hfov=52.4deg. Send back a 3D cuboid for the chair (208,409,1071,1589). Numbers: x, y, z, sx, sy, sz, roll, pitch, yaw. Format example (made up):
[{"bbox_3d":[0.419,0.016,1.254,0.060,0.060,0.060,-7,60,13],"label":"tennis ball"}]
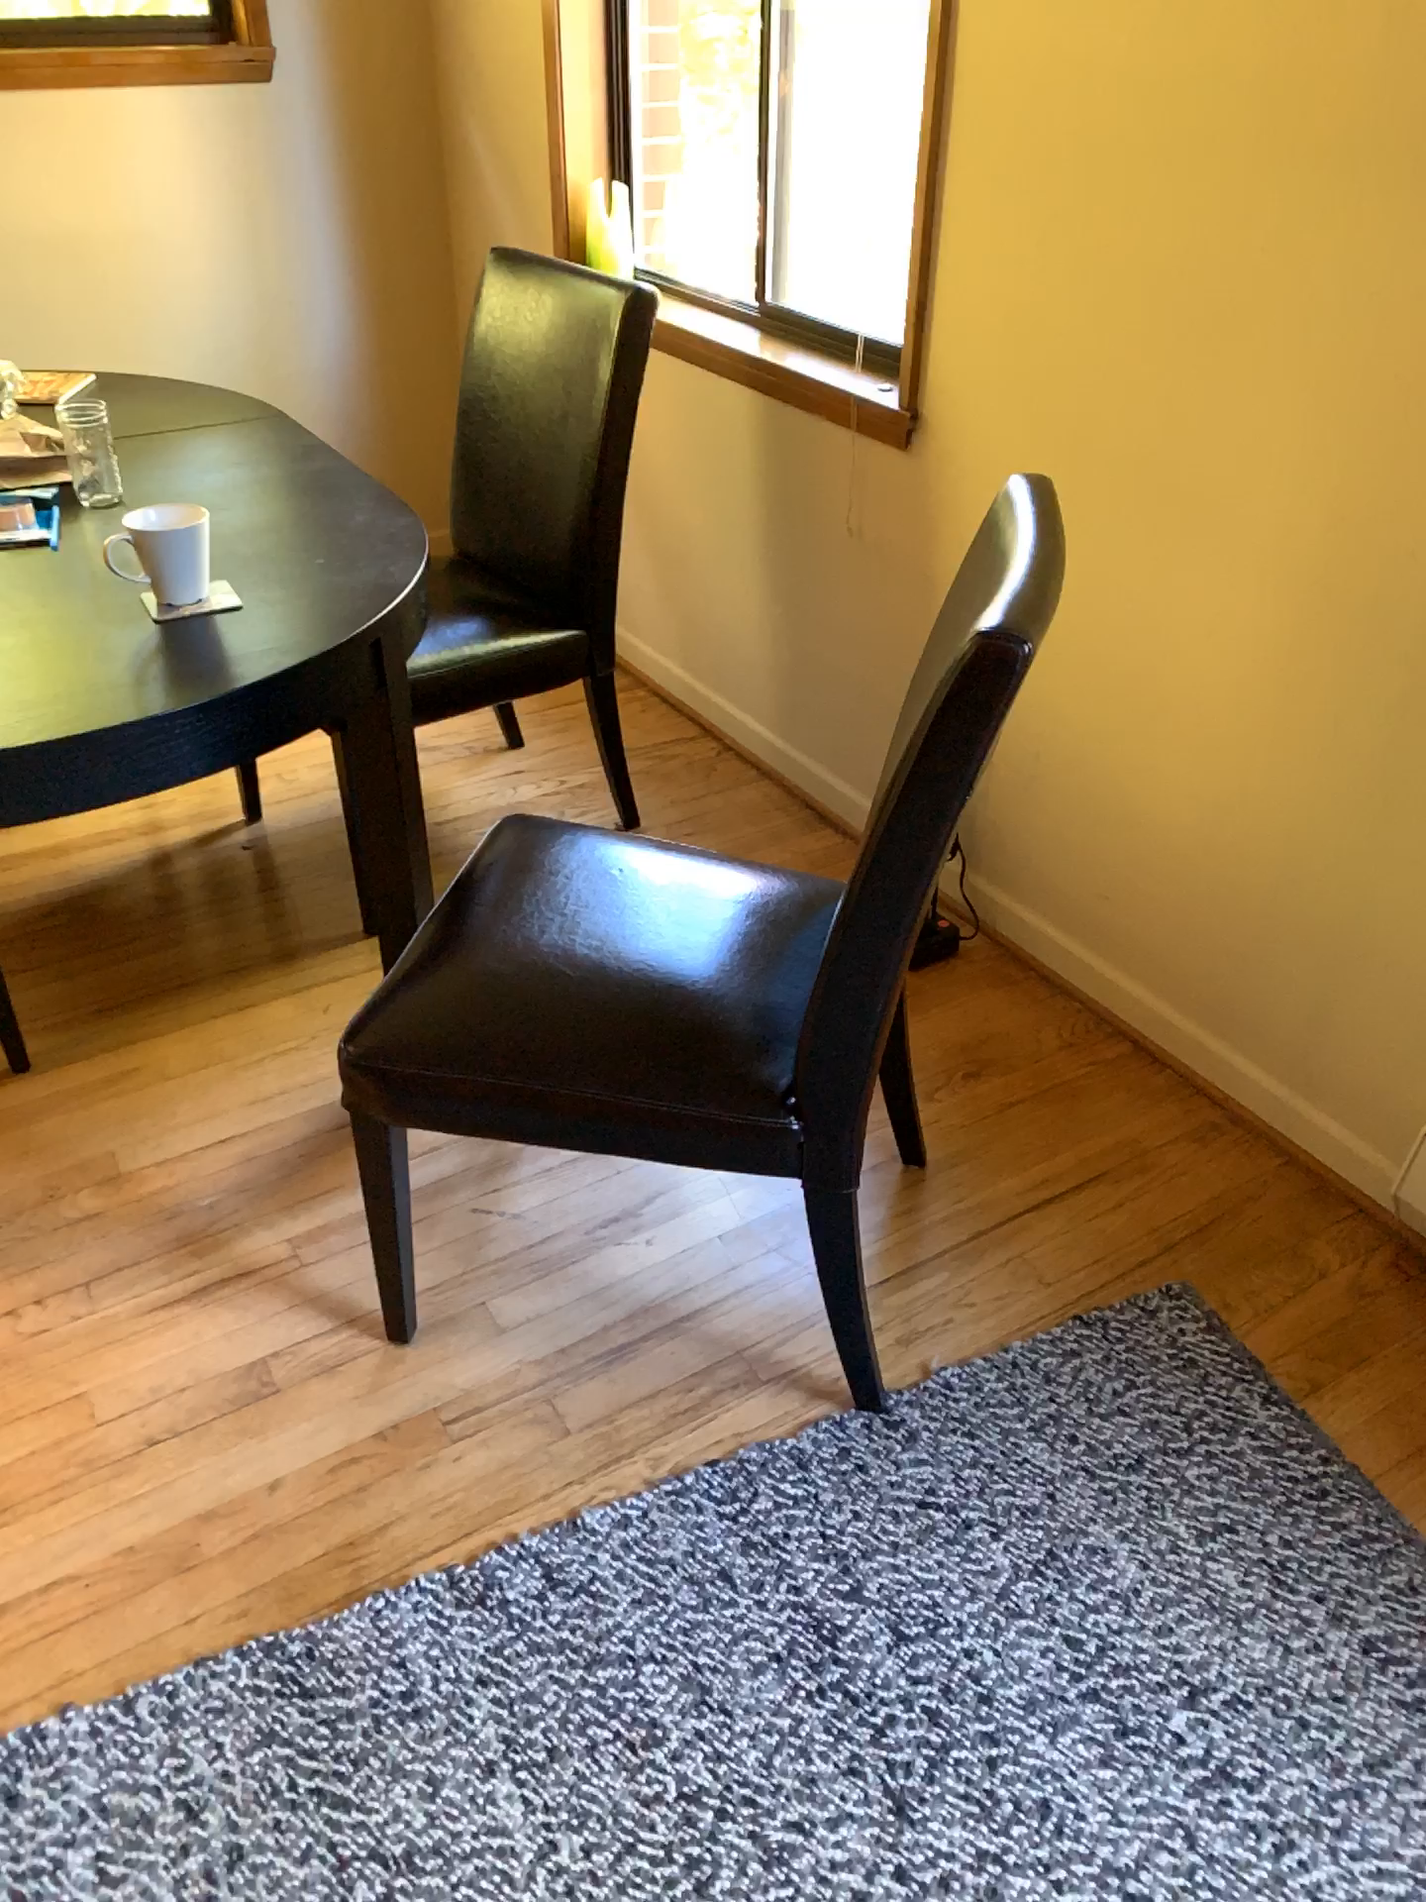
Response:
[{"bbox_3d":[-0.013,0.054,1.625,0.650,1.083,0.624,7,35,10],"label":"chair"}]
